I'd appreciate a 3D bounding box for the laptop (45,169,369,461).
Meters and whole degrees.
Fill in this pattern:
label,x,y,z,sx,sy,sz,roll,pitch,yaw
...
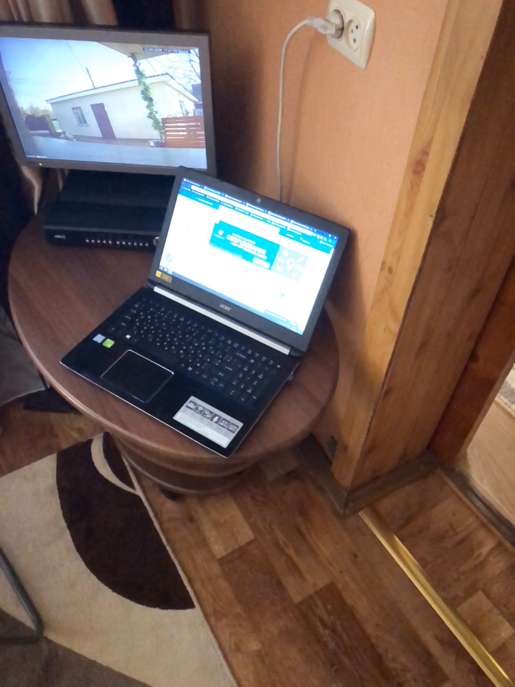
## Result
label,x,y,z,sx,sy,sz,roll,pitch,yaw
laptop,-0.070,-0.077,1.002,0.372,0.186,0.392,25,53,19
